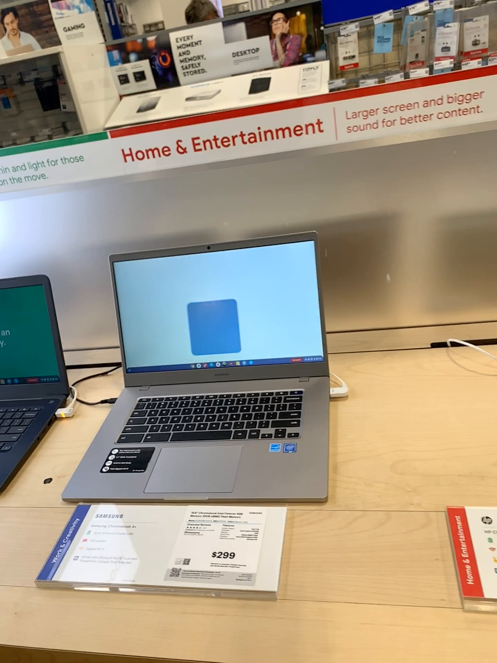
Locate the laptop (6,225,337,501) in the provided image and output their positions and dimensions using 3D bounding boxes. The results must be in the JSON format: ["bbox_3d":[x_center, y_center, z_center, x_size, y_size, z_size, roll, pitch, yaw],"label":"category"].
[{"bbox_3d":[-0.062,0.028,0.726,0.351,0.205,0.339,-4,31,13],"label":"laptop"}]

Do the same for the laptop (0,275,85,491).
[{"bbox_3d":[-0.495,0.071,0.819,0.320,0.193,0.295,-4,29,11],"label":"laptop"}]
